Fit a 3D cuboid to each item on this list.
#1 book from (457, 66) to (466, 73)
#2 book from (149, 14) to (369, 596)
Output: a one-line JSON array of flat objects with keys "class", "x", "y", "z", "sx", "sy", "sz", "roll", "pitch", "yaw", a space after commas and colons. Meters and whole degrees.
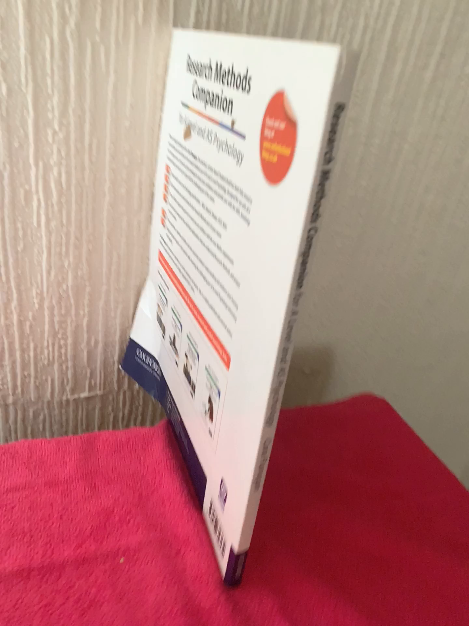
[{"class": "book", "x": 47.640, "y": -50.994, "z": 101.118, "sx": 1.001, "sy": 0.991, "sz": 1.009, "roll": -2, "pitch": 31, "yaw": -22}, {"class": "book", "x": -0.023, "y": -0.026, "z": 0.314, "sx": 0.020, "sy": 0.287, "sz": 0.252, "roll": -4, "pitch": 31, "yaw": -19}]
